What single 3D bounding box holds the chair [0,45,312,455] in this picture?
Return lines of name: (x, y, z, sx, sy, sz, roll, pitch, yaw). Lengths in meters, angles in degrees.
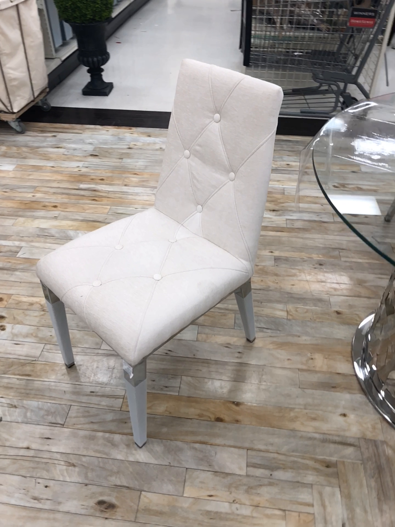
chair: (-0.121, -0.035, 1.218, 0.571, 0.886, 0.471, -30, 49, -31)
